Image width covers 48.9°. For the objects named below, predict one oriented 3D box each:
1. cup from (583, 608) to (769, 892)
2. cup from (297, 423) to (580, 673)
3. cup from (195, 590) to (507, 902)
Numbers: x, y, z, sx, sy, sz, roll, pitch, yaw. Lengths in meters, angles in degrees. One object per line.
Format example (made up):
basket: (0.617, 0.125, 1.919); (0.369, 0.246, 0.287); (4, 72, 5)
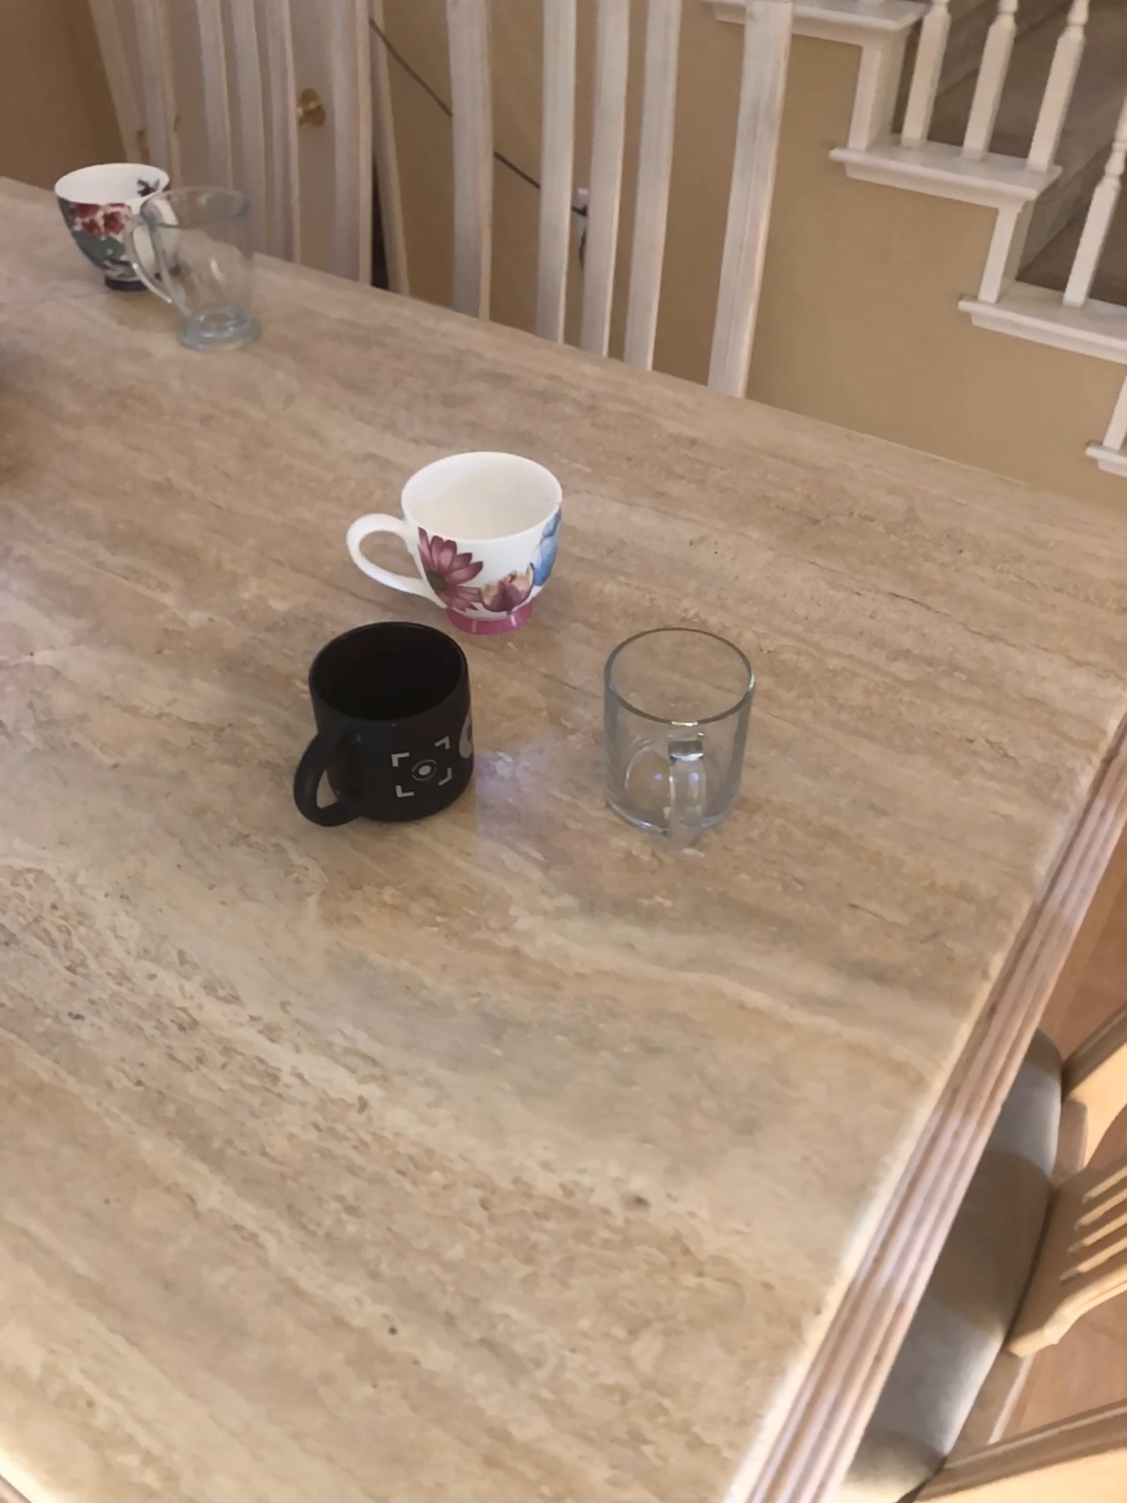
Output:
cup: (0.059, -0.003, 0.716); (0.090, 0.089, 0.141); (-1, 44, -1)
cup: (-0.085, -0.142, 0.850); (0.160, 0.089, 0.121); (-14, 46, -14)
cup: (-0.120, -0.007, 0.730); (0.100, 0.089, 0.141); (33, 53, 30)
